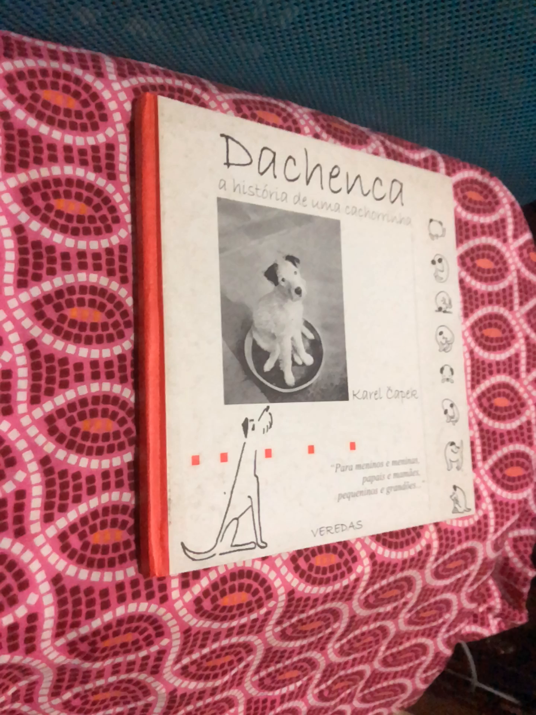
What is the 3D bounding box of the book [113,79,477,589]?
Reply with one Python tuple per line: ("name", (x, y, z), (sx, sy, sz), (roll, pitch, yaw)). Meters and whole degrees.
("book", (0.025, -0.012, 0.319), (0.206, 0.027, 0.216), (1, 82, -34))
